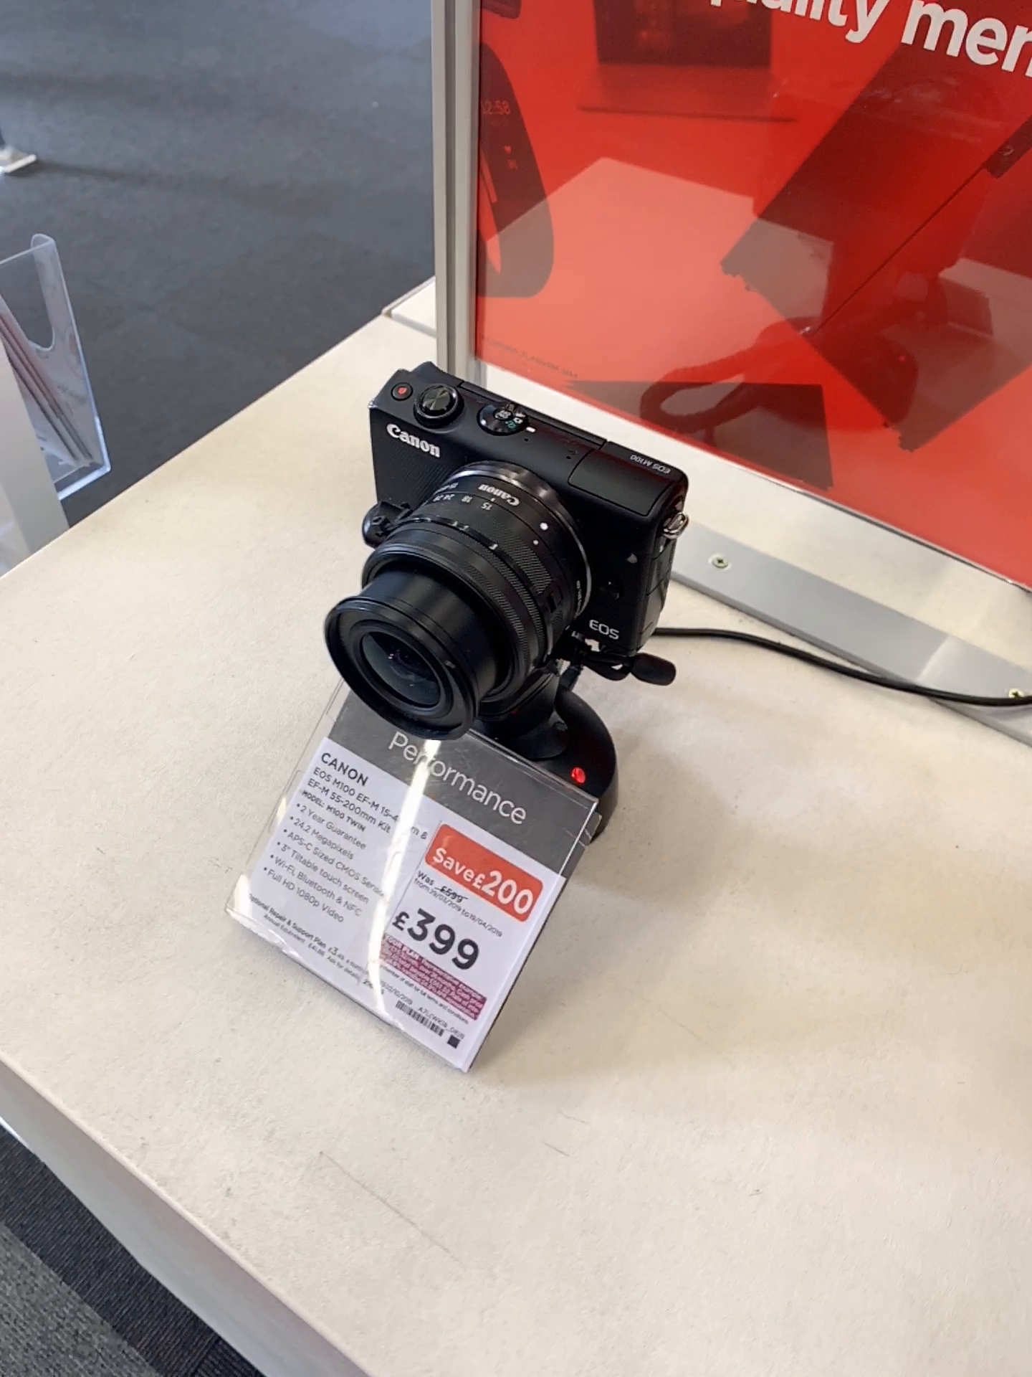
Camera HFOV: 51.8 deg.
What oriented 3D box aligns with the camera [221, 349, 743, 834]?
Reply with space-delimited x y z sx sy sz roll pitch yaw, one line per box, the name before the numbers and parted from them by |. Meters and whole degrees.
camera | -0.009 -0.036 0.342 0.120 0.069 0.101 26 53 18
